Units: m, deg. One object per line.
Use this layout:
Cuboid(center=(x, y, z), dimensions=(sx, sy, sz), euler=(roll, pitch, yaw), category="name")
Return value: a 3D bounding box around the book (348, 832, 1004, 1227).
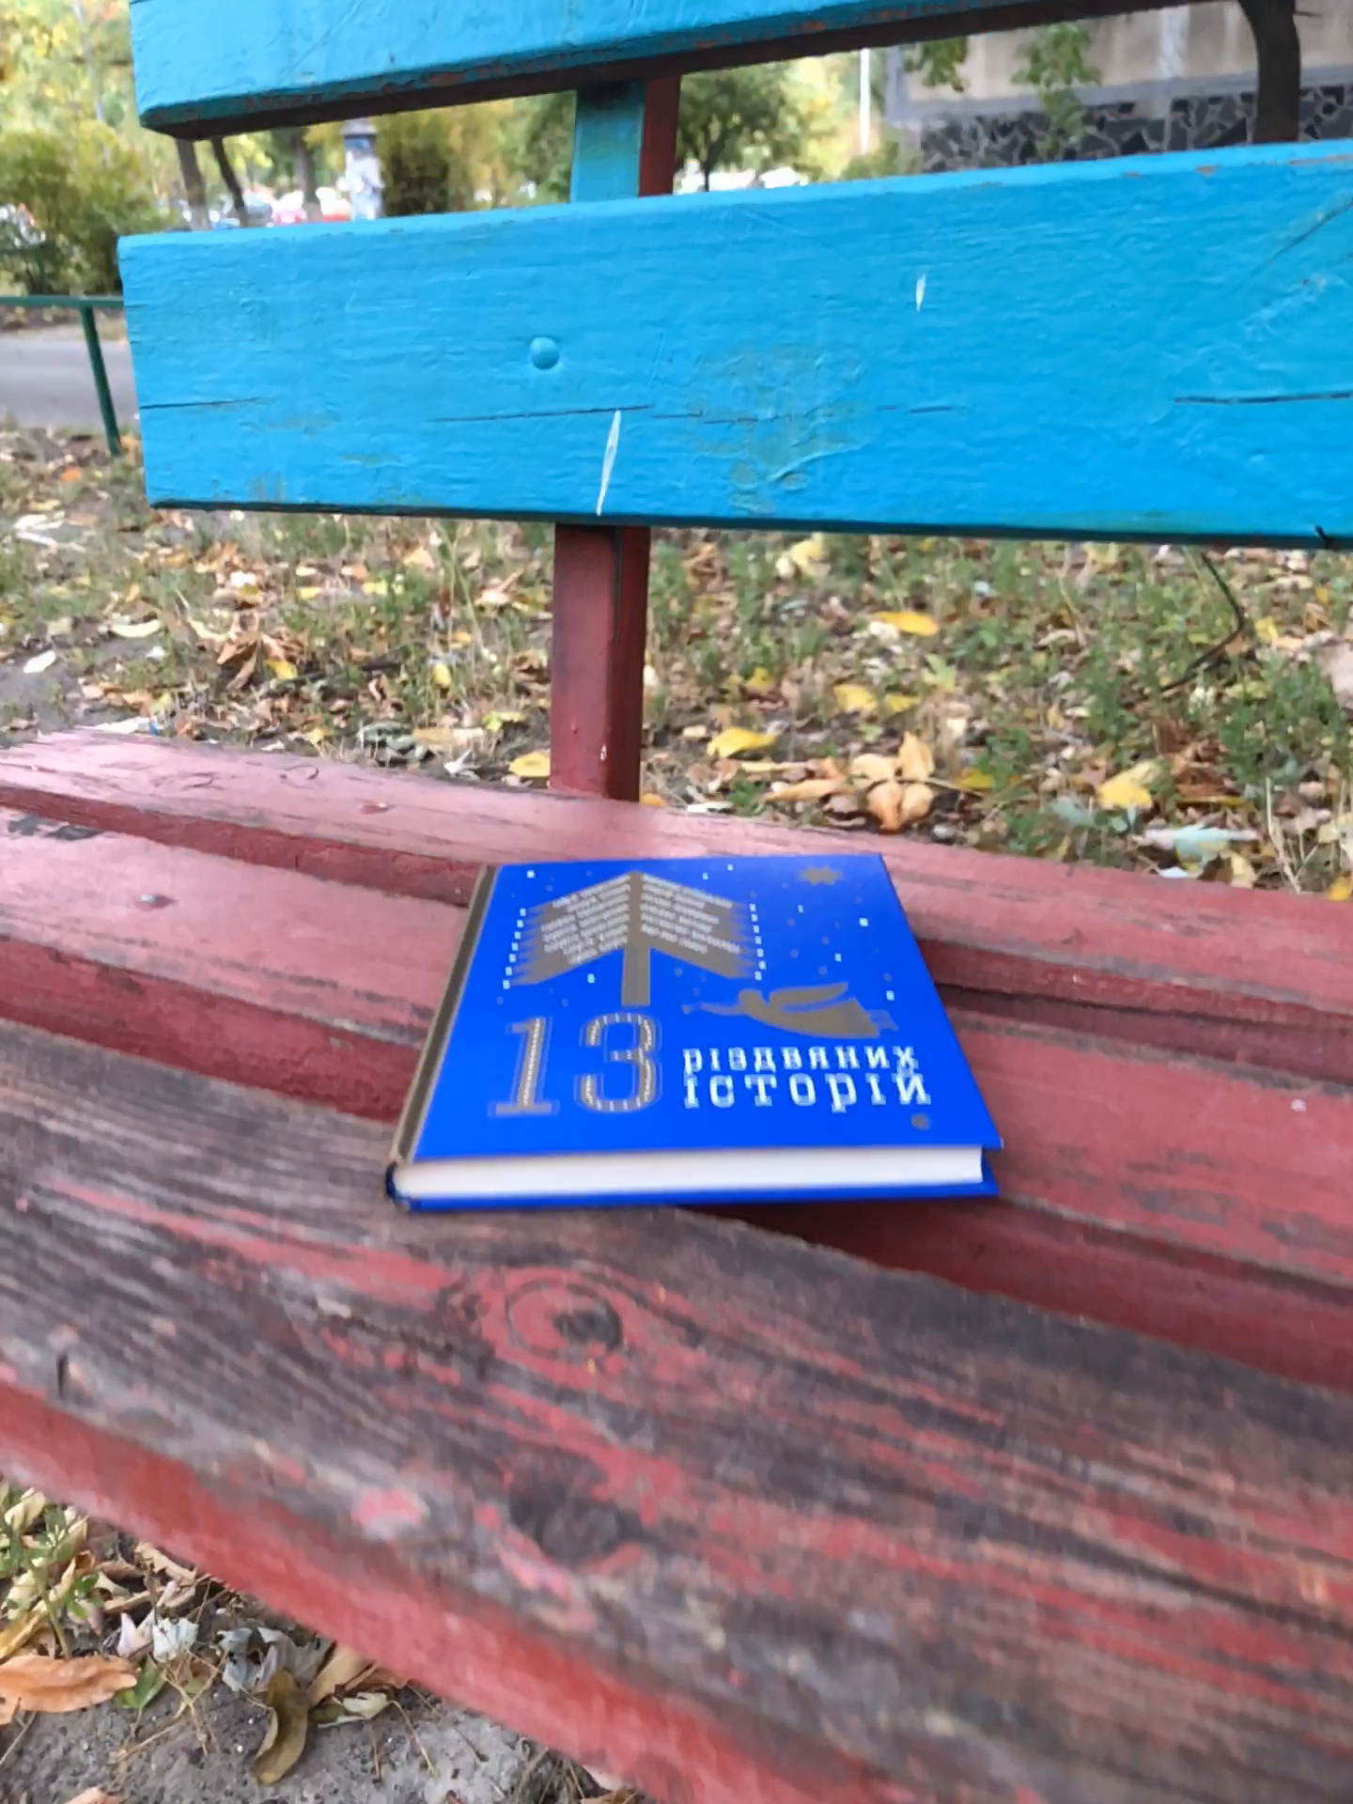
Cuboid(center=(-0.002, 0.026, 0.453), dimensions=(0.155, 0.020, 0.213), euler=(-2, 22, 0), category="book")
